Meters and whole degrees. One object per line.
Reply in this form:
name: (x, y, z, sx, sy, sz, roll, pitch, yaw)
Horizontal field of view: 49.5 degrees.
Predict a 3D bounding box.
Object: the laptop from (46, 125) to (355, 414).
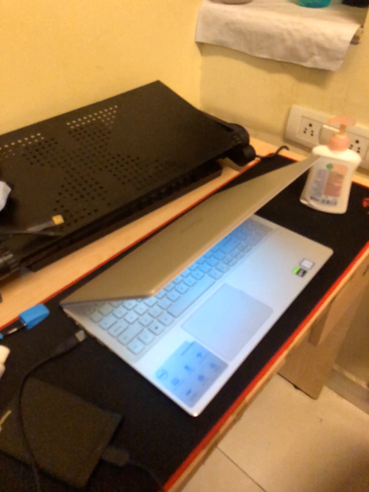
laptop: (0.040, -0.006, 0.550, 0.218, 0.139, 0.352, 30, 49, 27)
